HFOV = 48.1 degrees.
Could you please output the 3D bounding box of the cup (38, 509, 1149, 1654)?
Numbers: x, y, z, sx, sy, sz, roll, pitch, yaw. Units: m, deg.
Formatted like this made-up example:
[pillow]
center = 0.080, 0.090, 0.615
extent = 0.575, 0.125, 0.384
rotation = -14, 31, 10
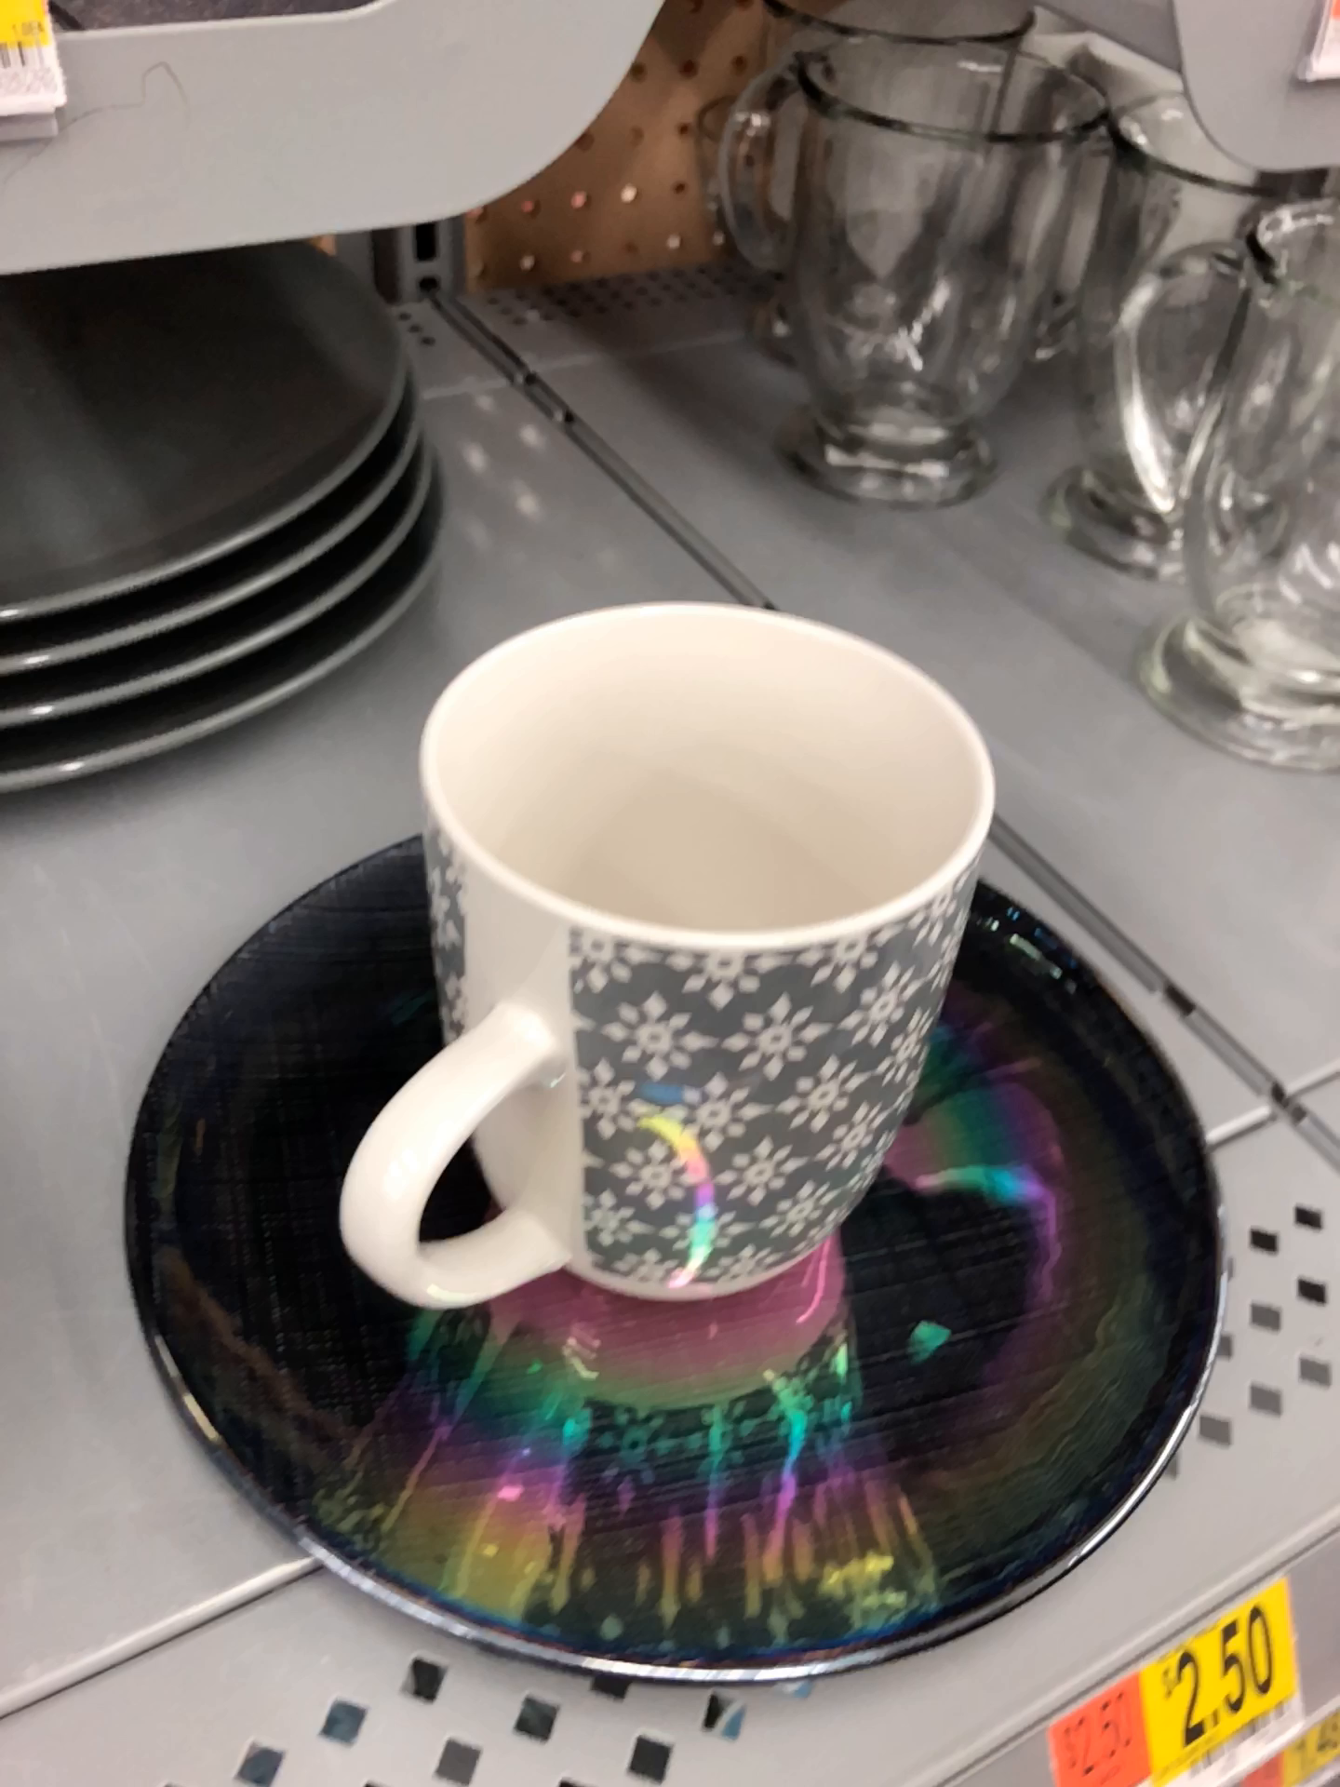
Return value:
[cup]
center = -0.007, 0.020, 0.242
extent = 0.093, 0.096, 0.129
rotation = 30, 48, 26
